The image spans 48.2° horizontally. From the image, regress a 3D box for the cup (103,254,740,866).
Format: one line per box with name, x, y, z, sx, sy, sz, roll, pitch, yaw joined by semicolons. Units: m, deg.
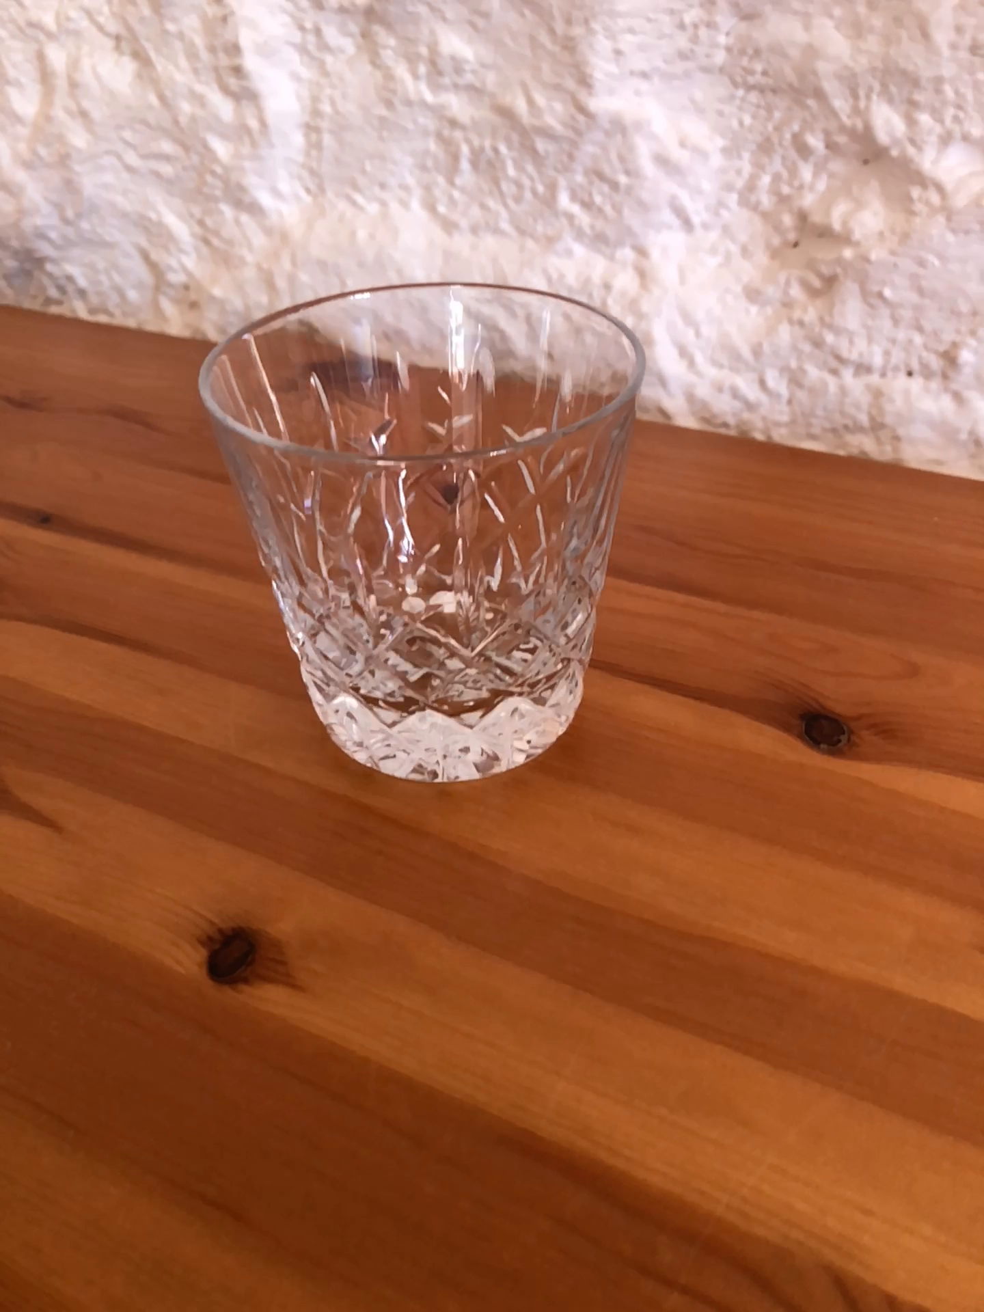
cup;-0.008;-0.024;0.204;0.077;0.068;0.077;-1;38;1
